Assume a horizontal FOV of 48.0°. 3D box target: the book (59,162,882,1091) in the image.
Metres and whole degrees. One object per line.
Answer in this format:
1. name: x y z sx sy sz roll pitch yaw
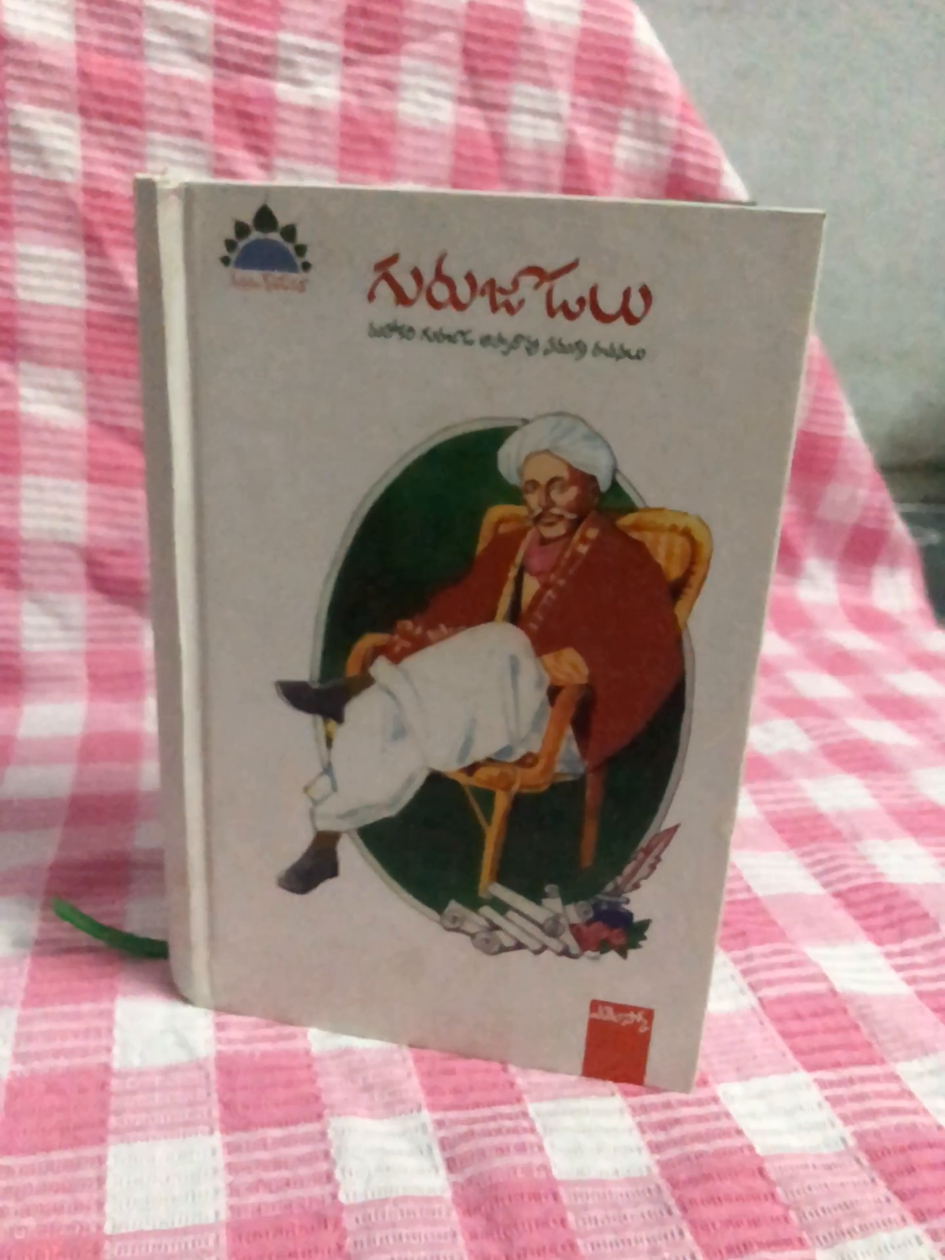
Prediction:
1. book: -0.004 -0.001 0.275 0.160 0.209 0.070 7 23 8
